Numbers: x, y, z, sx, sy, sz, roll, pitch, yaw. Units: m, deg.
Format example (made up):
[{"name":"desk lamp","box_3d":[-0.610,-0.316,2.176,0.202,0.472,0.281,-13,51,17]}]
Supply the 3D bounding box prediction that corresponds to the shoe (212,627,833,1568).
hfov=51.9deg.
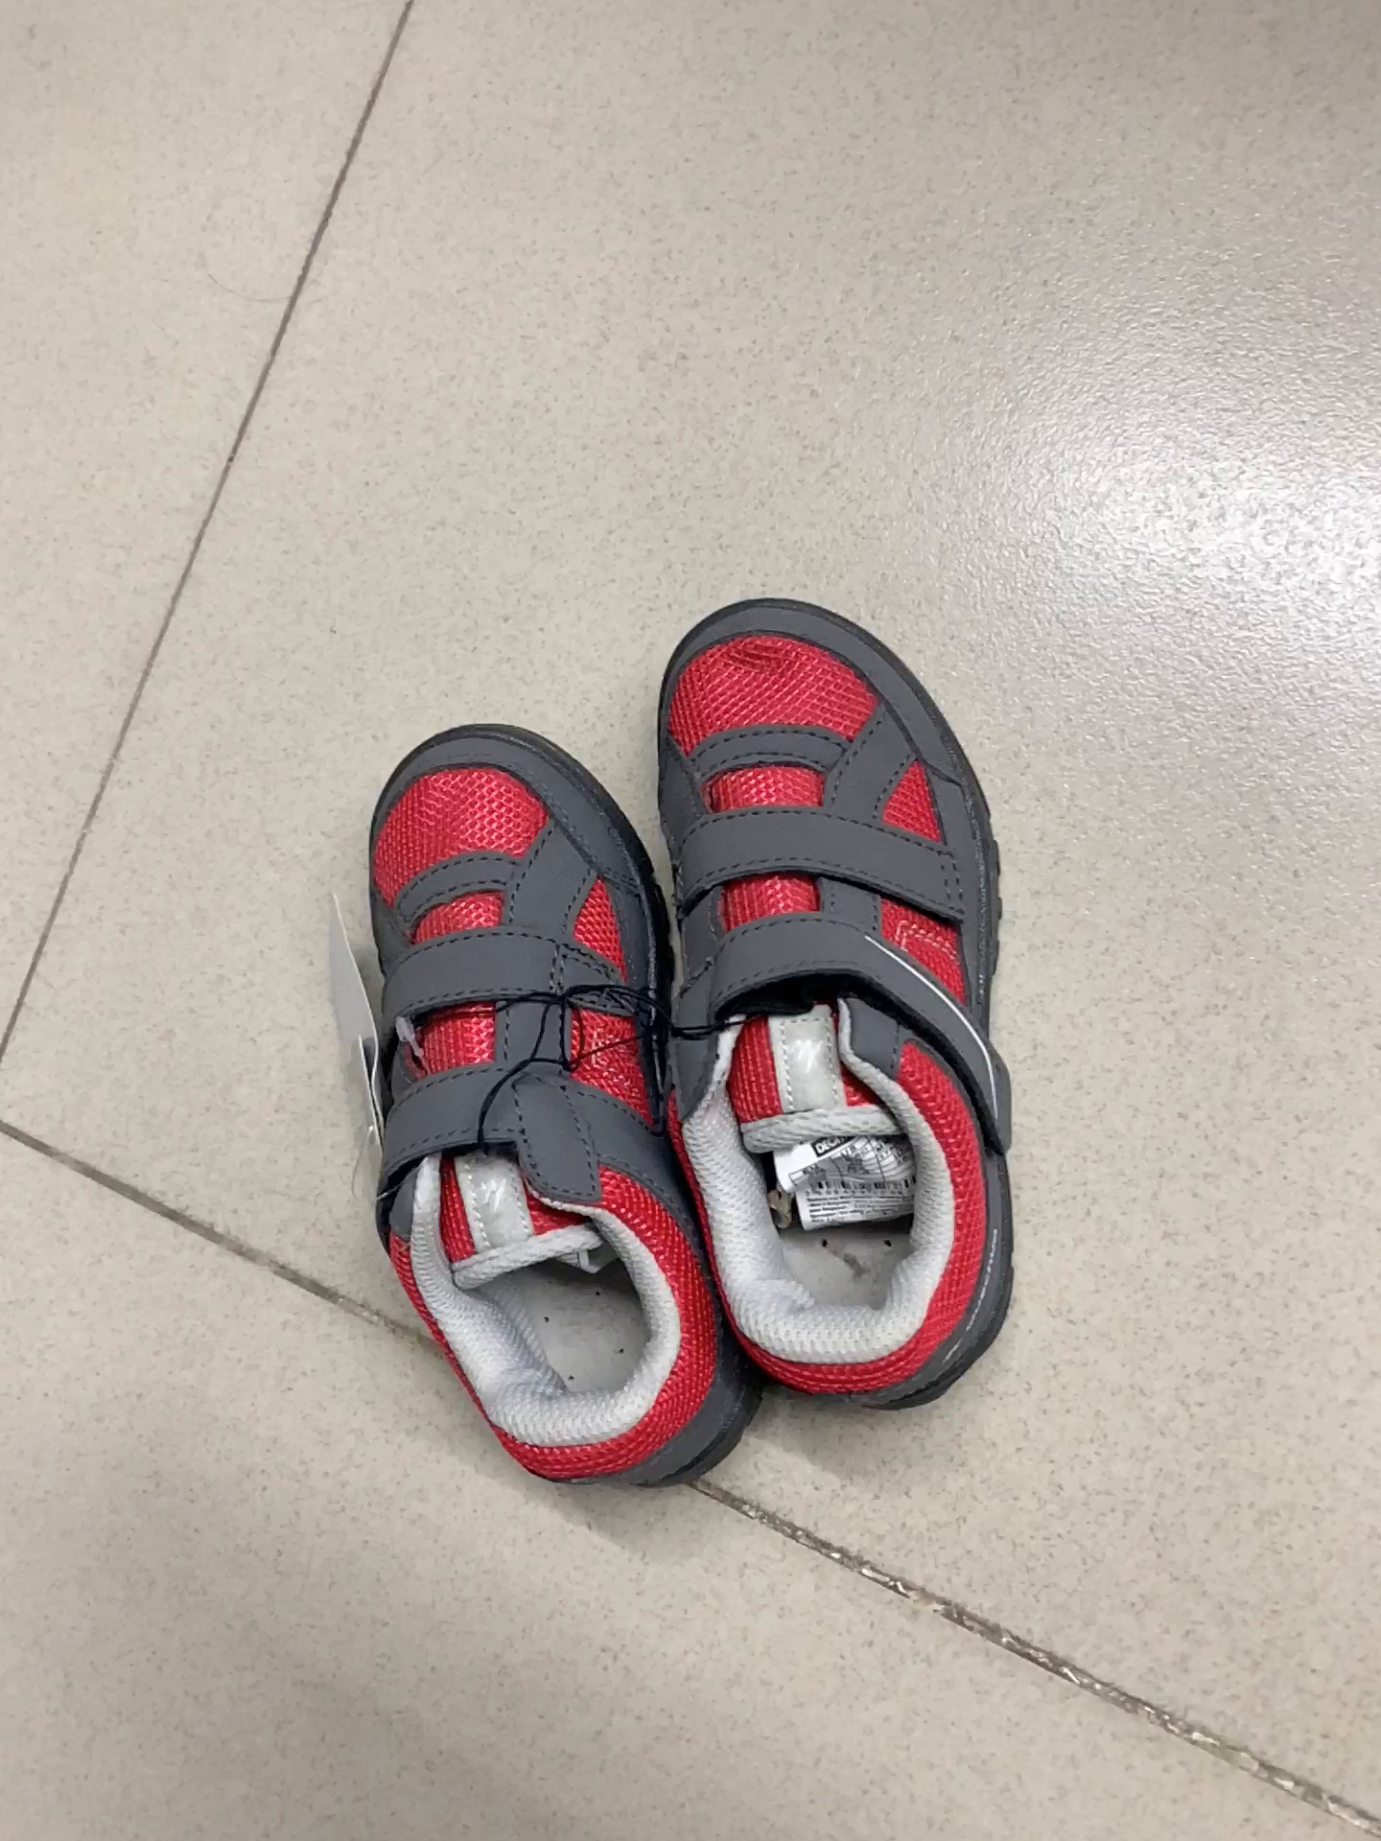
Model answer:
[{"name":"shoe","box_3d":[-0.037,0.039,0.335,0.080,0.080,0.180,-18,79,13]}]

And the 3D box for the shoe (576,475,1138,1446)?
[{"name":"shoe","box_3d":[0.040,0.011,0.333,0.080,0.080,0.190,-13,80,13]}]
